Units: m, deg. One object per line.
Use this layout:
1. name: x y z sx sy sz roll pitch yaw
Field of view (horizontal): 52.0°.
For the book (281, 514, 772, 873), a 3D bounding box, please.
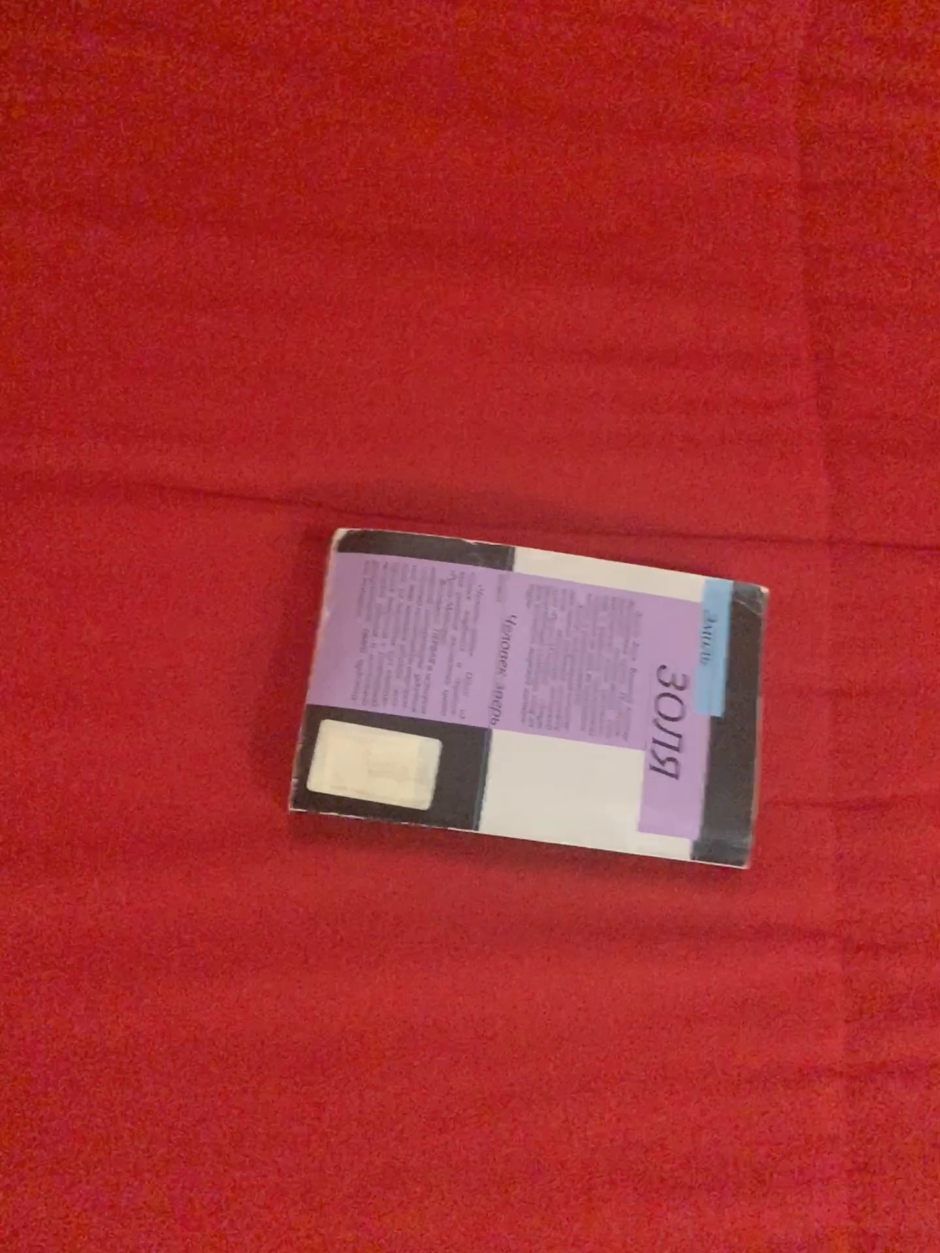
1. book: 0.024 0.027 0.366 0.170 0.034 0.109 8 76 -6
